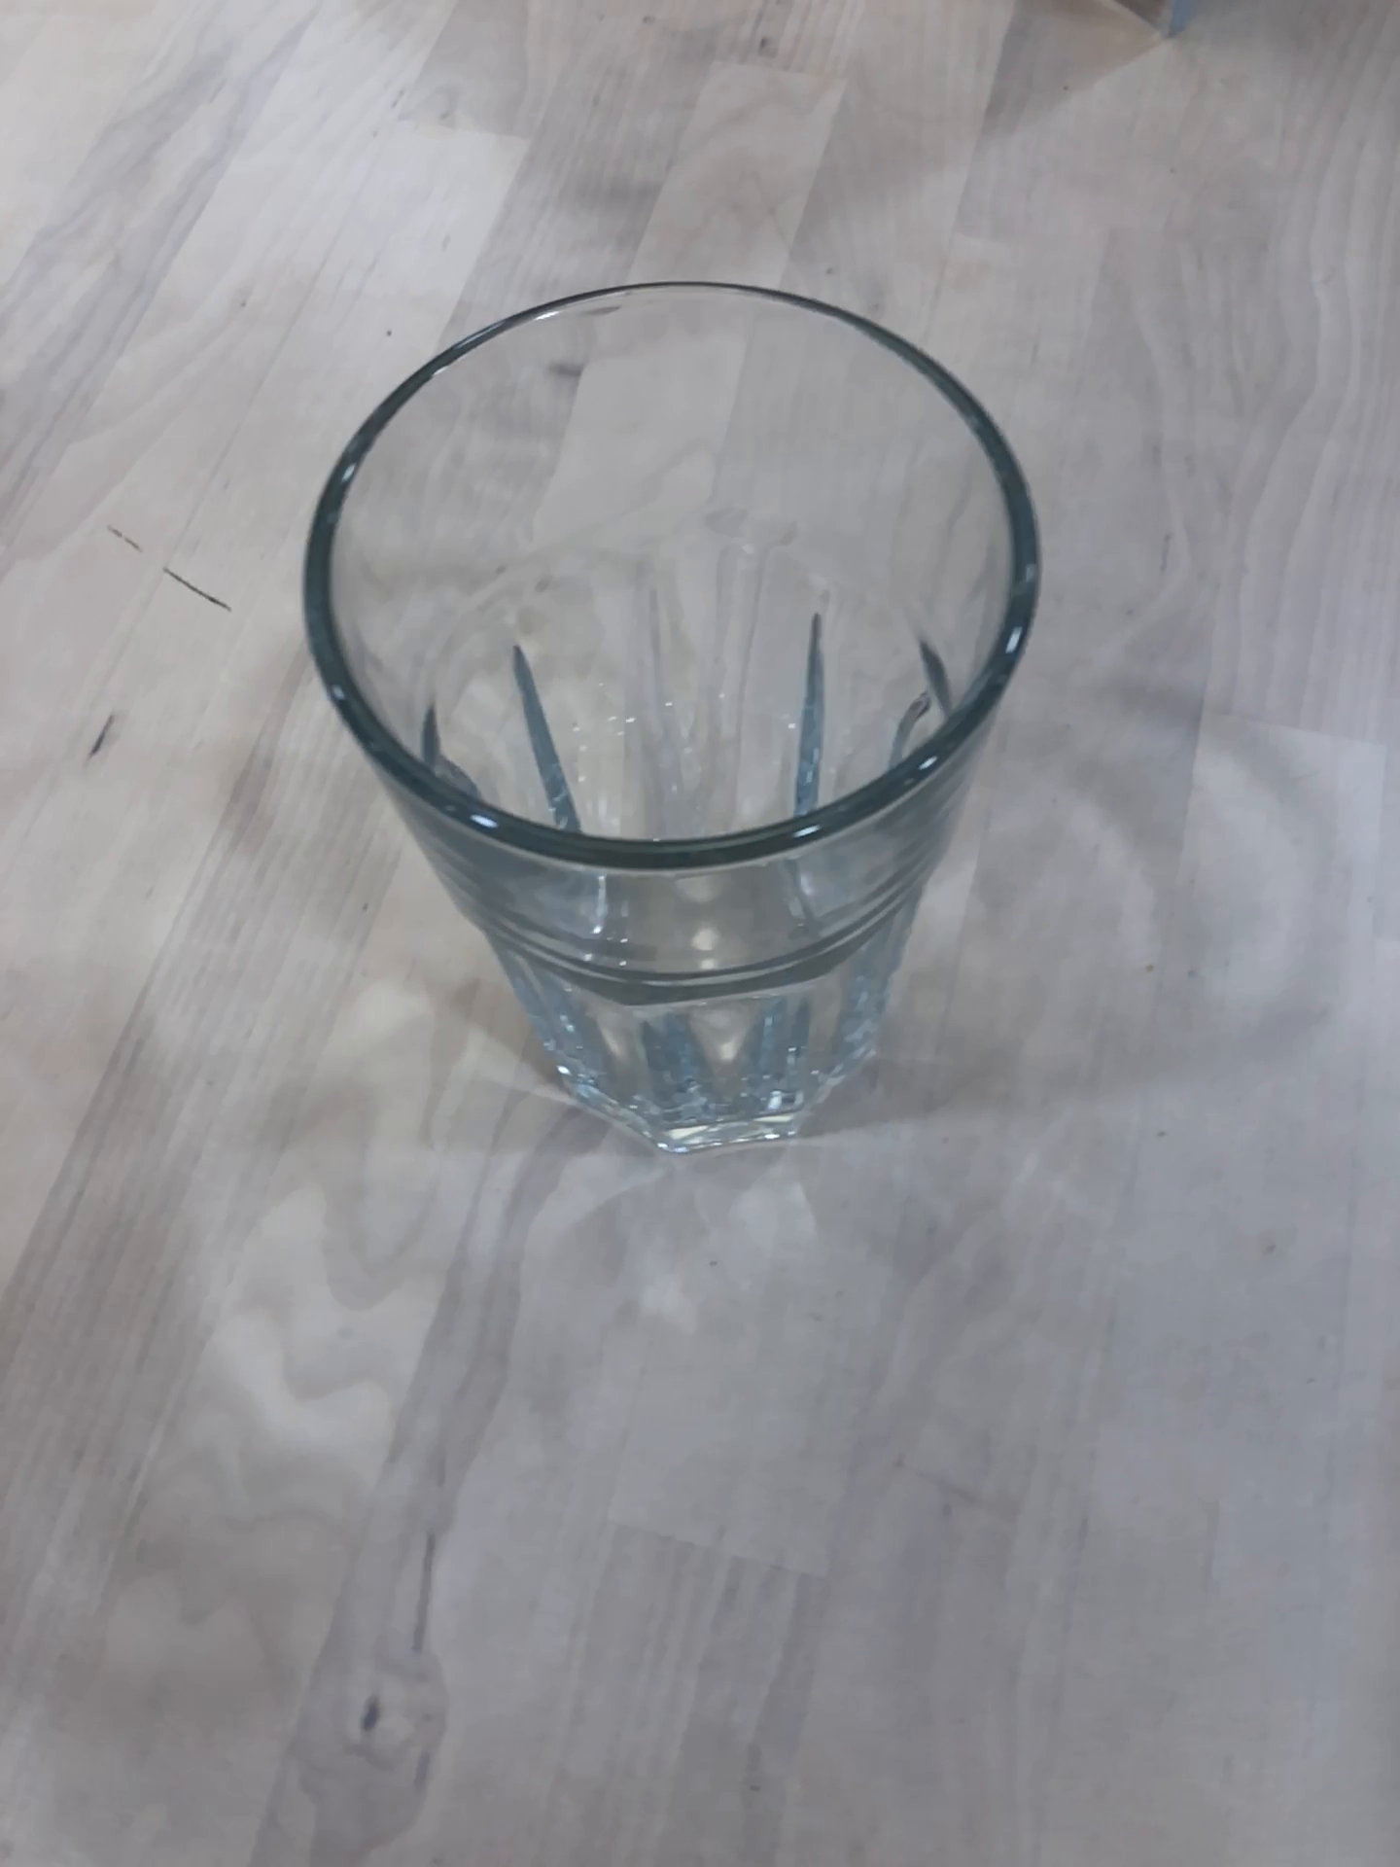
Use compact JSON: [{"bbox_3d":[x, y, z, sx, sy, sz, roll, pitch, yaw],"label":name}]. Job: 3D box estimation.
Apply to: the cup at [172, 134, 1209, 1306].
[{"bbox_3d":[0.004,-0.019,0.253,0.090,0.159,0.090,-1,63,2],"label":"cup"}]
